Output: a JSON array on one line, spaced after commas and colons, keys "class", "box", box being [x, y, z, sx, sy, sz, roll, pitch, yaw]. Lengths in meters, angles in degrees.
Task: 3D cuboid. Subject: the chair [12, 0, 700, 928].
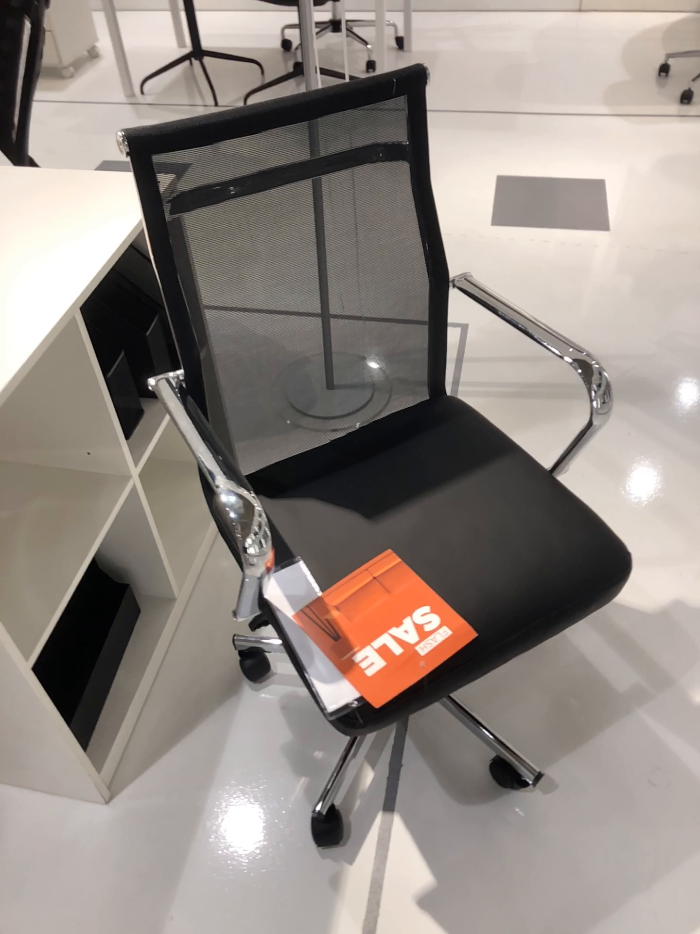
[{"class": "chair", "box": [0.086, 0.018, 1.072, 0.611, 0.993, 0.623, -24, 48, -19]}]
